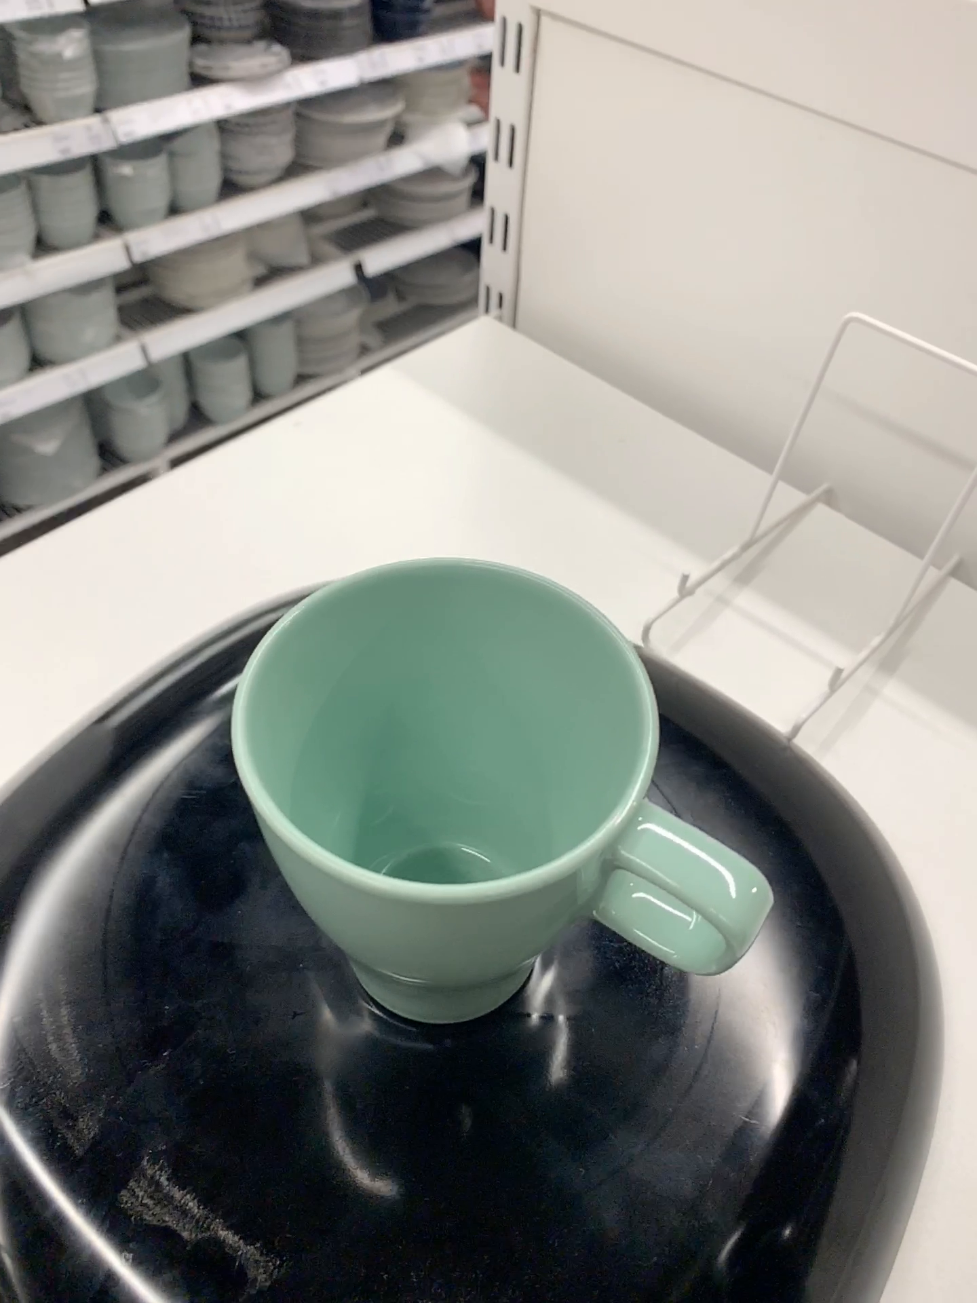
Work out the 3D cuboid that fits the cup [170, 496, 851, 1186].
[{"bbox_3d":[0.005,0.043,0.232,0.110,0.100,0.080,21,48,13],"label":"cup"}]
